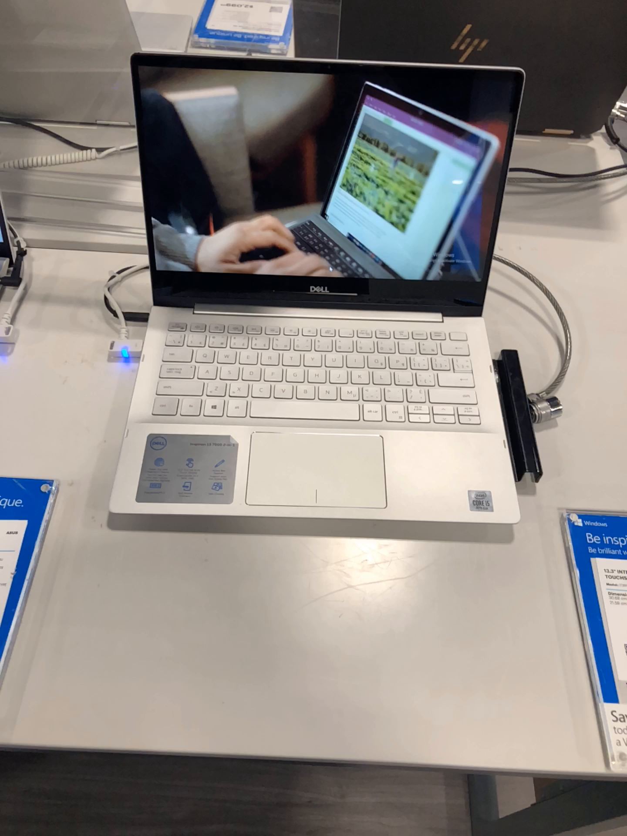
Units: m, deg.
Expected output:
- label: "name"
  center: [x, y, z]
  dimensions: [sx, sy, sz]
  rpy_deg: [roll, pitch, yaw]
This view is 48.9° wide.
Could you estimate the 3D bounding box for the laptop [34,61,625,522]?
- label: "laptop"
  center: [0.005, -0.091, 0.490]
  dimensions: [0.285, 0.186, 0.265]
  rpy_deg: [2, 53, -1]
